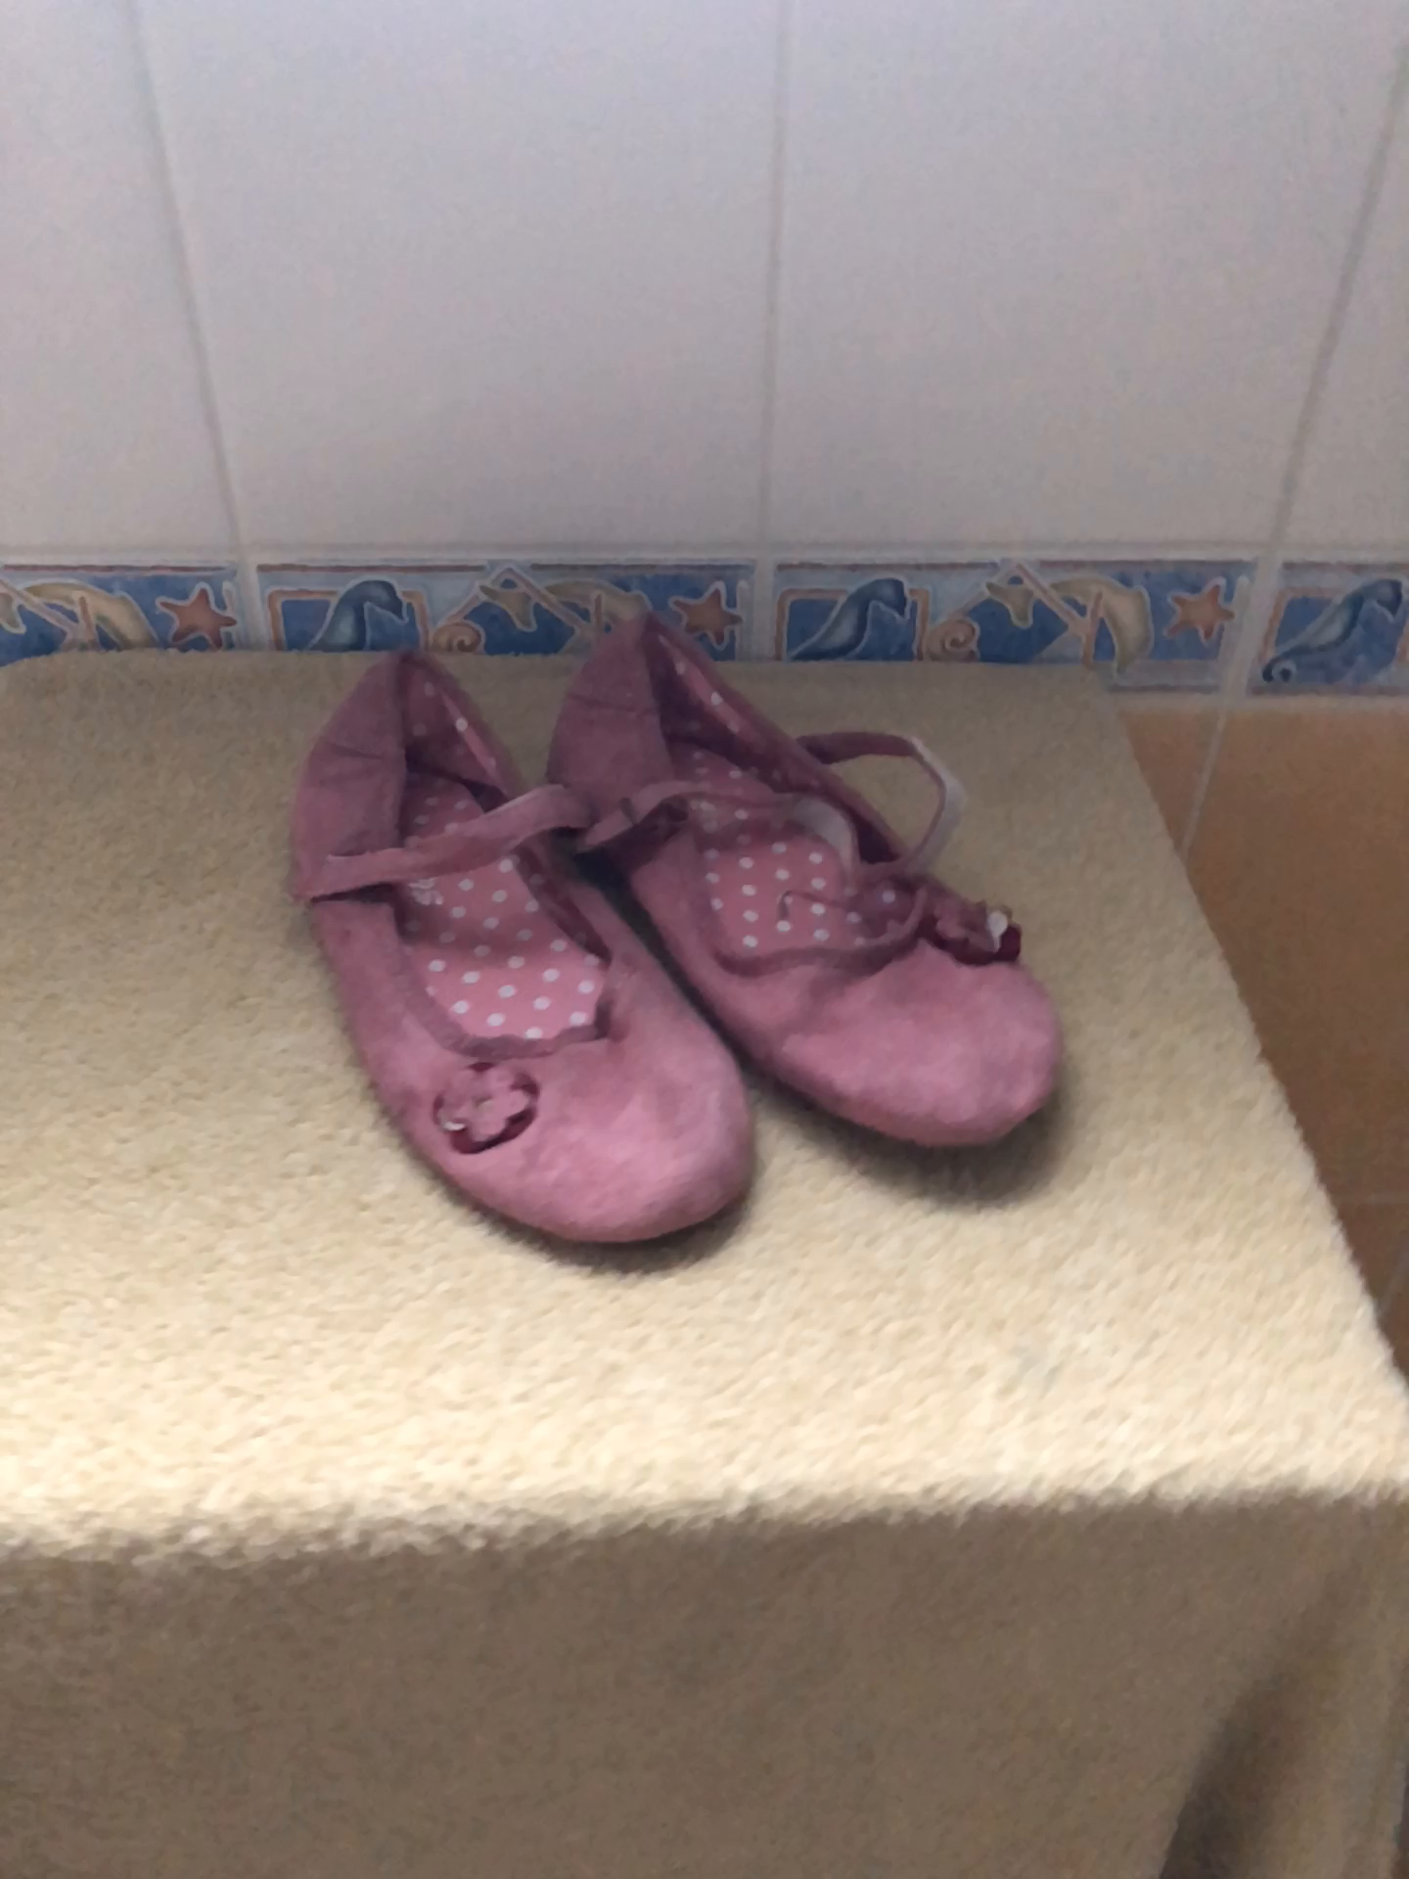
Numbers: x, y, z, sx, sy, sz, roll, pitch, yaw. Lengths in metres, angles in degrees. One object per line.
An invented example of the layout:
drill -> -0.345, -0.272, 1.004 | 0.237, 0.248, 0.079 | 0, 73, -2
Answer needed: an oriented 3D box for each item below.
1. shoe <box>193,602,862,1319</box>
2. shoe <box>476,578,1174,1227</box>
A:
shoe -> -0.063, -0.013, 0.454 | 0.100, 0.050, 0.241 | -19, 45, -22
shoe -> 0.023, -0.029, 0.487 | 0.100, 0.050, 0.241 | -19, 45, -22
